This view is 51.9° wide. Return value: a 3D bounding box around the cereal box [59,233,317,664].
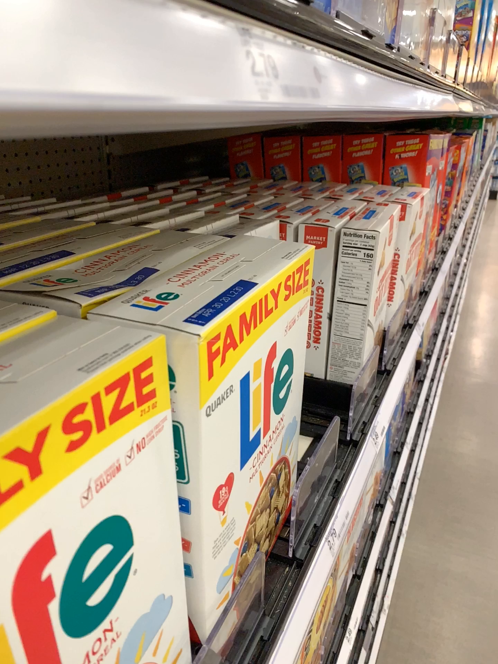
[{"bbox_3d":[-0.024,0.079,0.378,0.070,0.259,0.191,12,27,24],"label":"cereal box"}]
